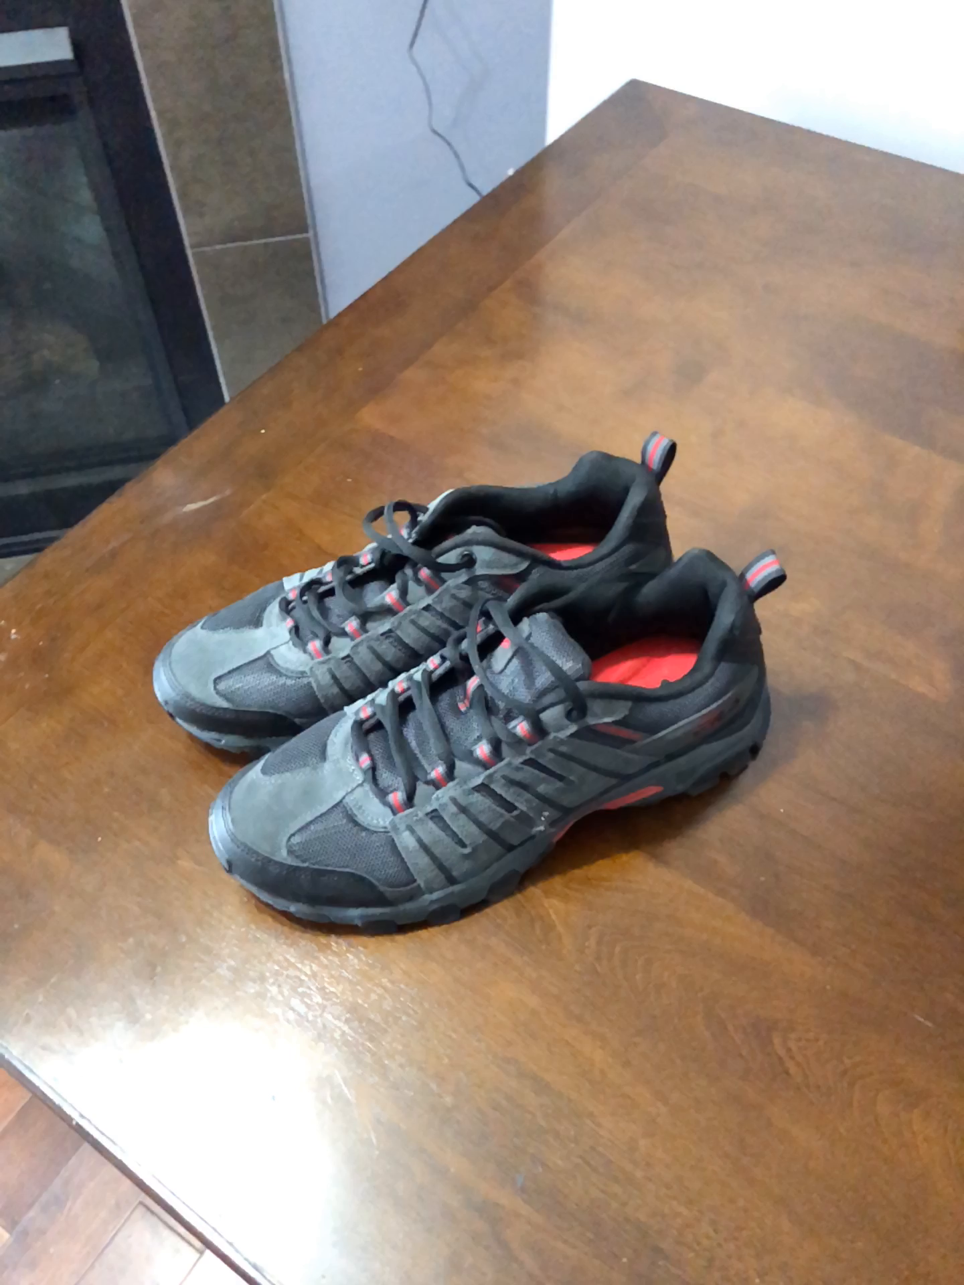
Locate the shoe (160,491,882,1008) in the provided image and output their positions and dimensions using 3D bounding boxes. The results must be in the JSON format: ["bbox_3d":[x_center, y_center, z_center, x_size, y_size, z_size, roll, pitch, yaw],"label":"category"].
[{"bbox_3d":[0.018,0.045,0.516,0.300,0.100,0.120,-19,55,-14],"label":"shoe"}]

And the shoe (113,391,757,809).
[{"bbox_3d":[-0.026,-0.027,0.571,0.300,0.100,0.120,-15,54,-10],"label":"shoe"}]
